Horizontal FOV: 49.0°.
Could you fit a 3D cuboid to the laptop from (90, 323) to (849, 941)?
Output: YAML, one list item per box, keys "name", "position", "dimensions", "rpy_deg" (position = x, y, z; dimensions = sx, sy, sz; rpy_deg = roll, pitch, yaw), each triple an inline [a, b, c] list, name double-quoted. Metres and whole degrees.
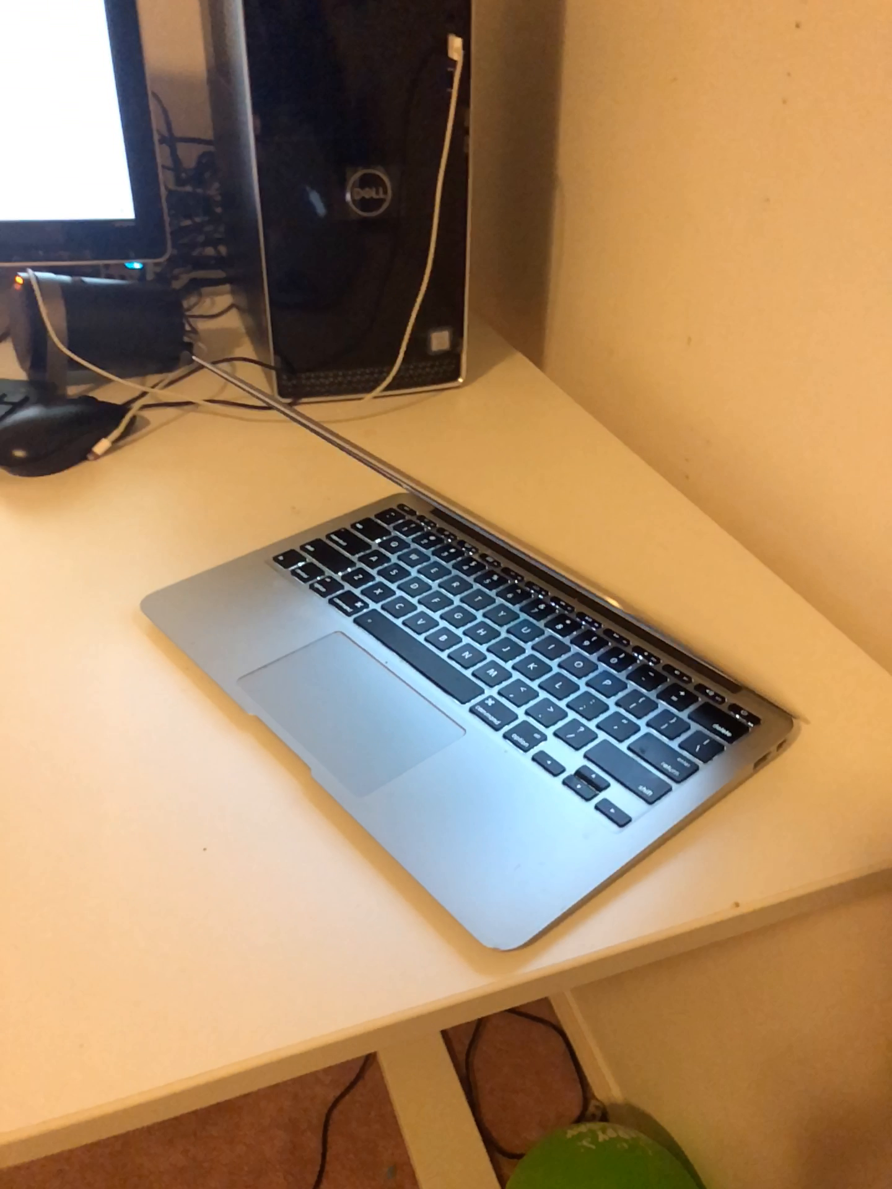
- name: "laptop"
  position: [-0.004, -0.014, 0.463]
  dimensions: [0.181, 0.108, 0.286]
  rpy_deg: [-27, 44, -33]
